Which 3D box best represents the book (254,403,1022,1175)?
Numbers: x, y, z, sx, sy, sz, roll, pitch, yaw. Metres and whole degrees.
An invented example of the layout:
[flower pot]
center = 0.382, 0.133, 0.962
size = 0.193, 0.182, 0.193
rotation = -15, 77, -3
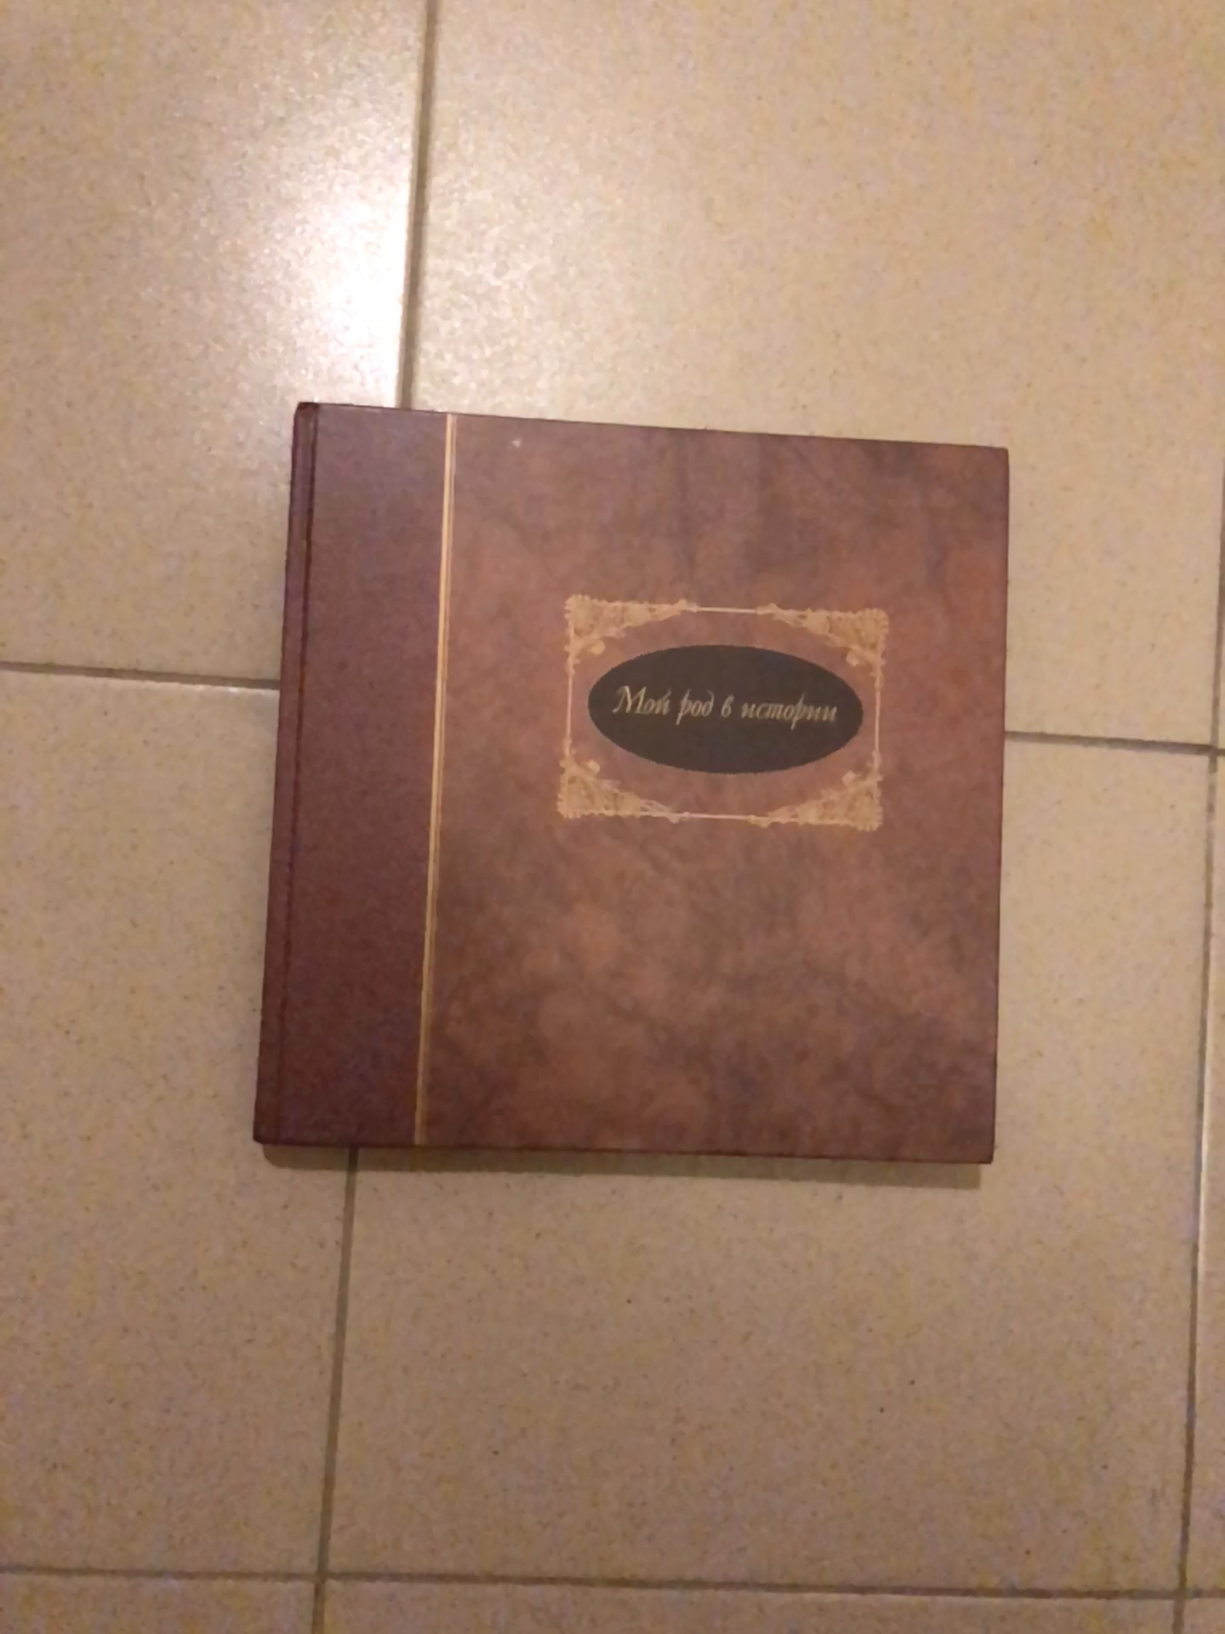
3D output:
[book]
center = 0.012, -0.009, 0.454
size = 0.244, 0.038, 0.244
rotation = 2, 85, -3
